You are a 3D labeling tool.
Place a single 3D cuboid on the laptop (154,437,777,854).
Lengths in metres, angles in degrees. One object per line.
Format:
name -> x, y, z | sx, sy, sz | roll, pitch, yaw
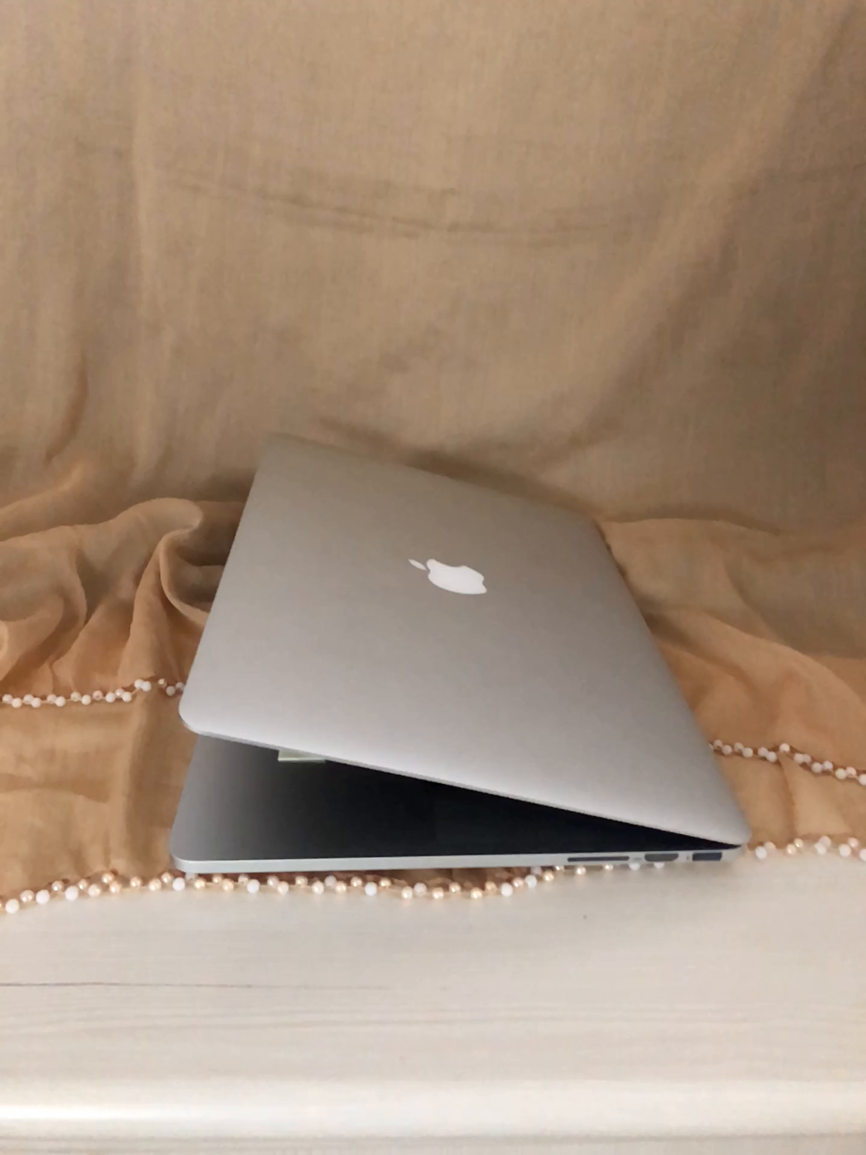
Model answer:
laptop -> 0.004, 0.008, 0.537 | 0.239, 0.063, 0.353 | 1, 26, -3
